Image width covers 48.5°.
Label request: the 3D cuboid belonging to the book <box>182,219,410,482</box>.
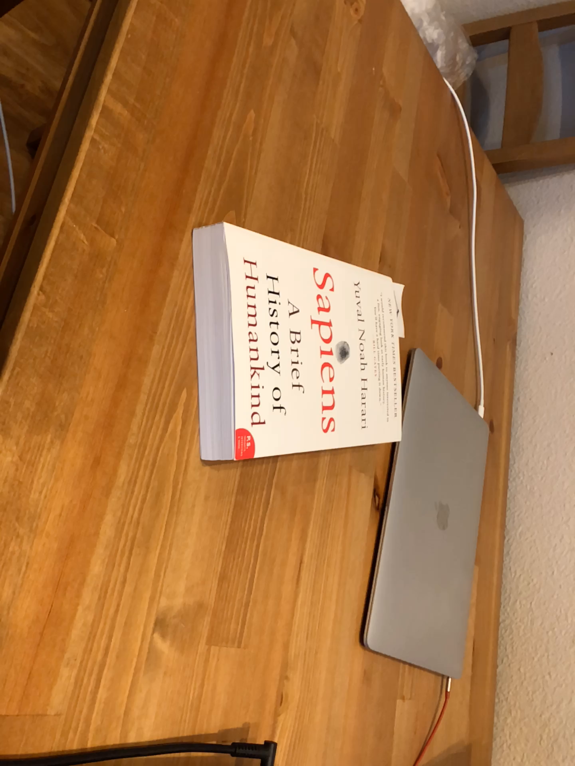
[{"bbox_3d":[0.022,-0.018,0.524,0.252,0.040,0.170,2,84,-54],"label":"book"}]
